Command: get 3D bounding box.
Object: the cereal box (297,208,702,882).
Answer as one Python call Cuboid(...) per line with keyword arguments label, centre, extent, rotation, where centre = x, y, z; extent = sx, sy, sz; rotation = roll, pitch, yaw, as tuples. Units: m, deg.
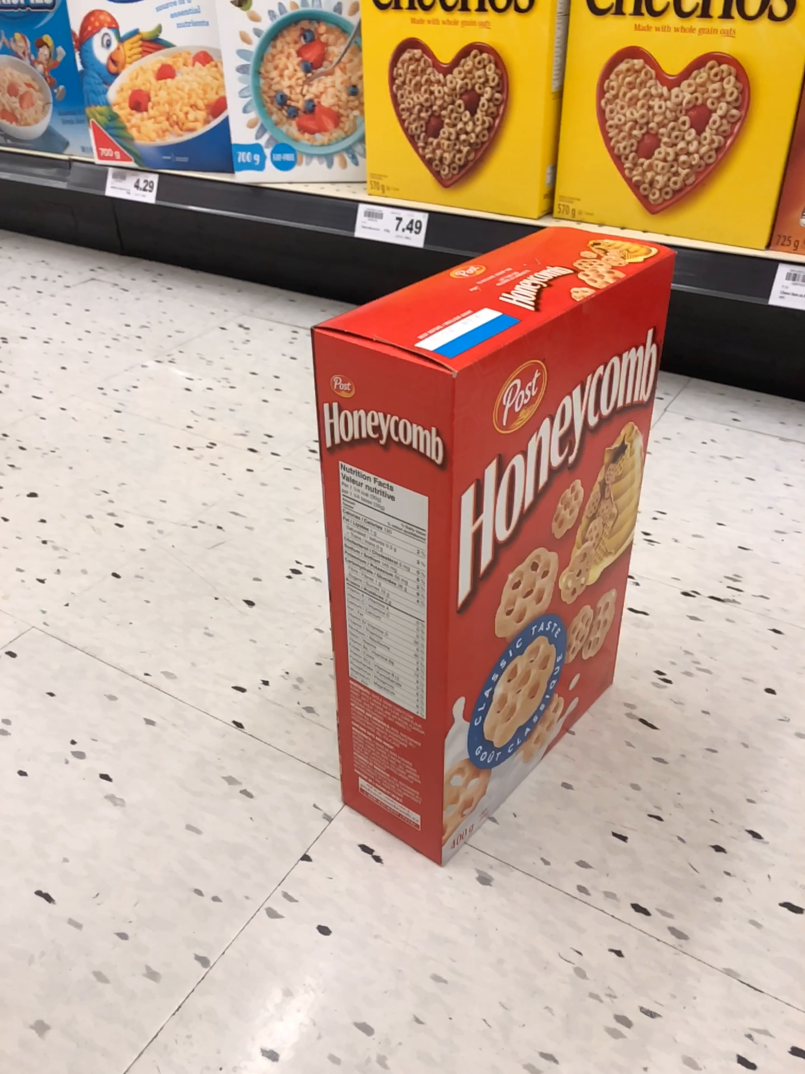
Cuboid(label="cereal box", centre=(0.054, 0.003, 0.478), extent=(0.080, 0.298, 0.201), rotation=(25, 41, 32))
